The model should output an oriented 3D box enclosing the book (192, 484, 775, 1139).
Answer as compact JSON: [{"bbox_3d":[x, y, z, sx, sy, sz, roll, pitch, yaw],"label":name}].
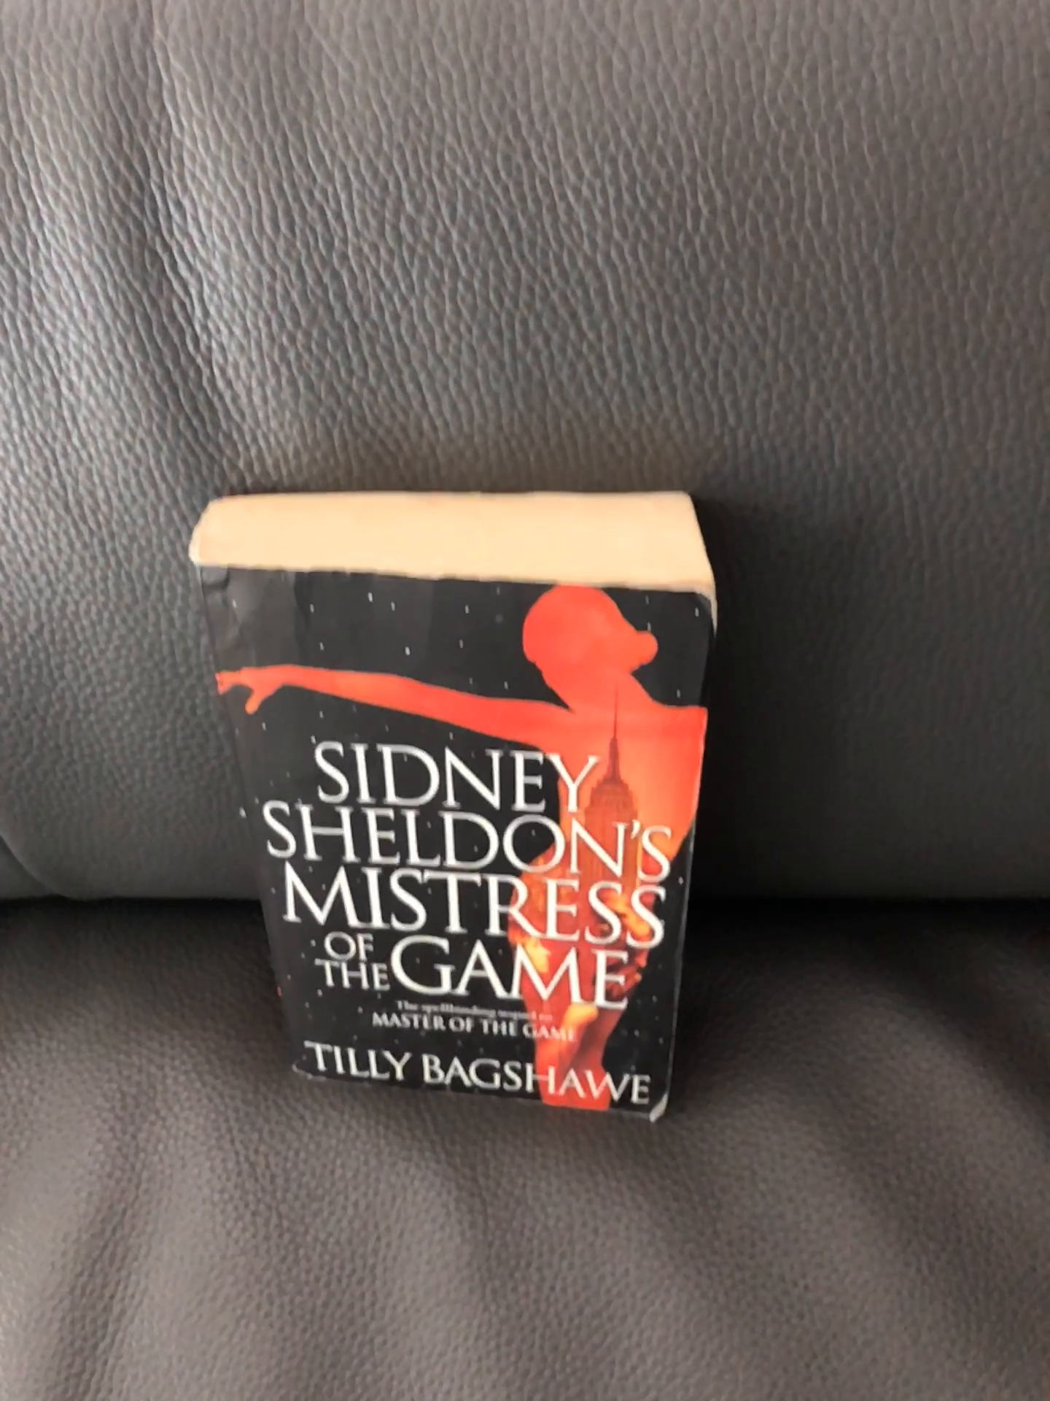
[{"bbox_3d":[-0.004,0.037,0.309,0.118,0.179,0.046,4,38,8],"label":"book"}]
